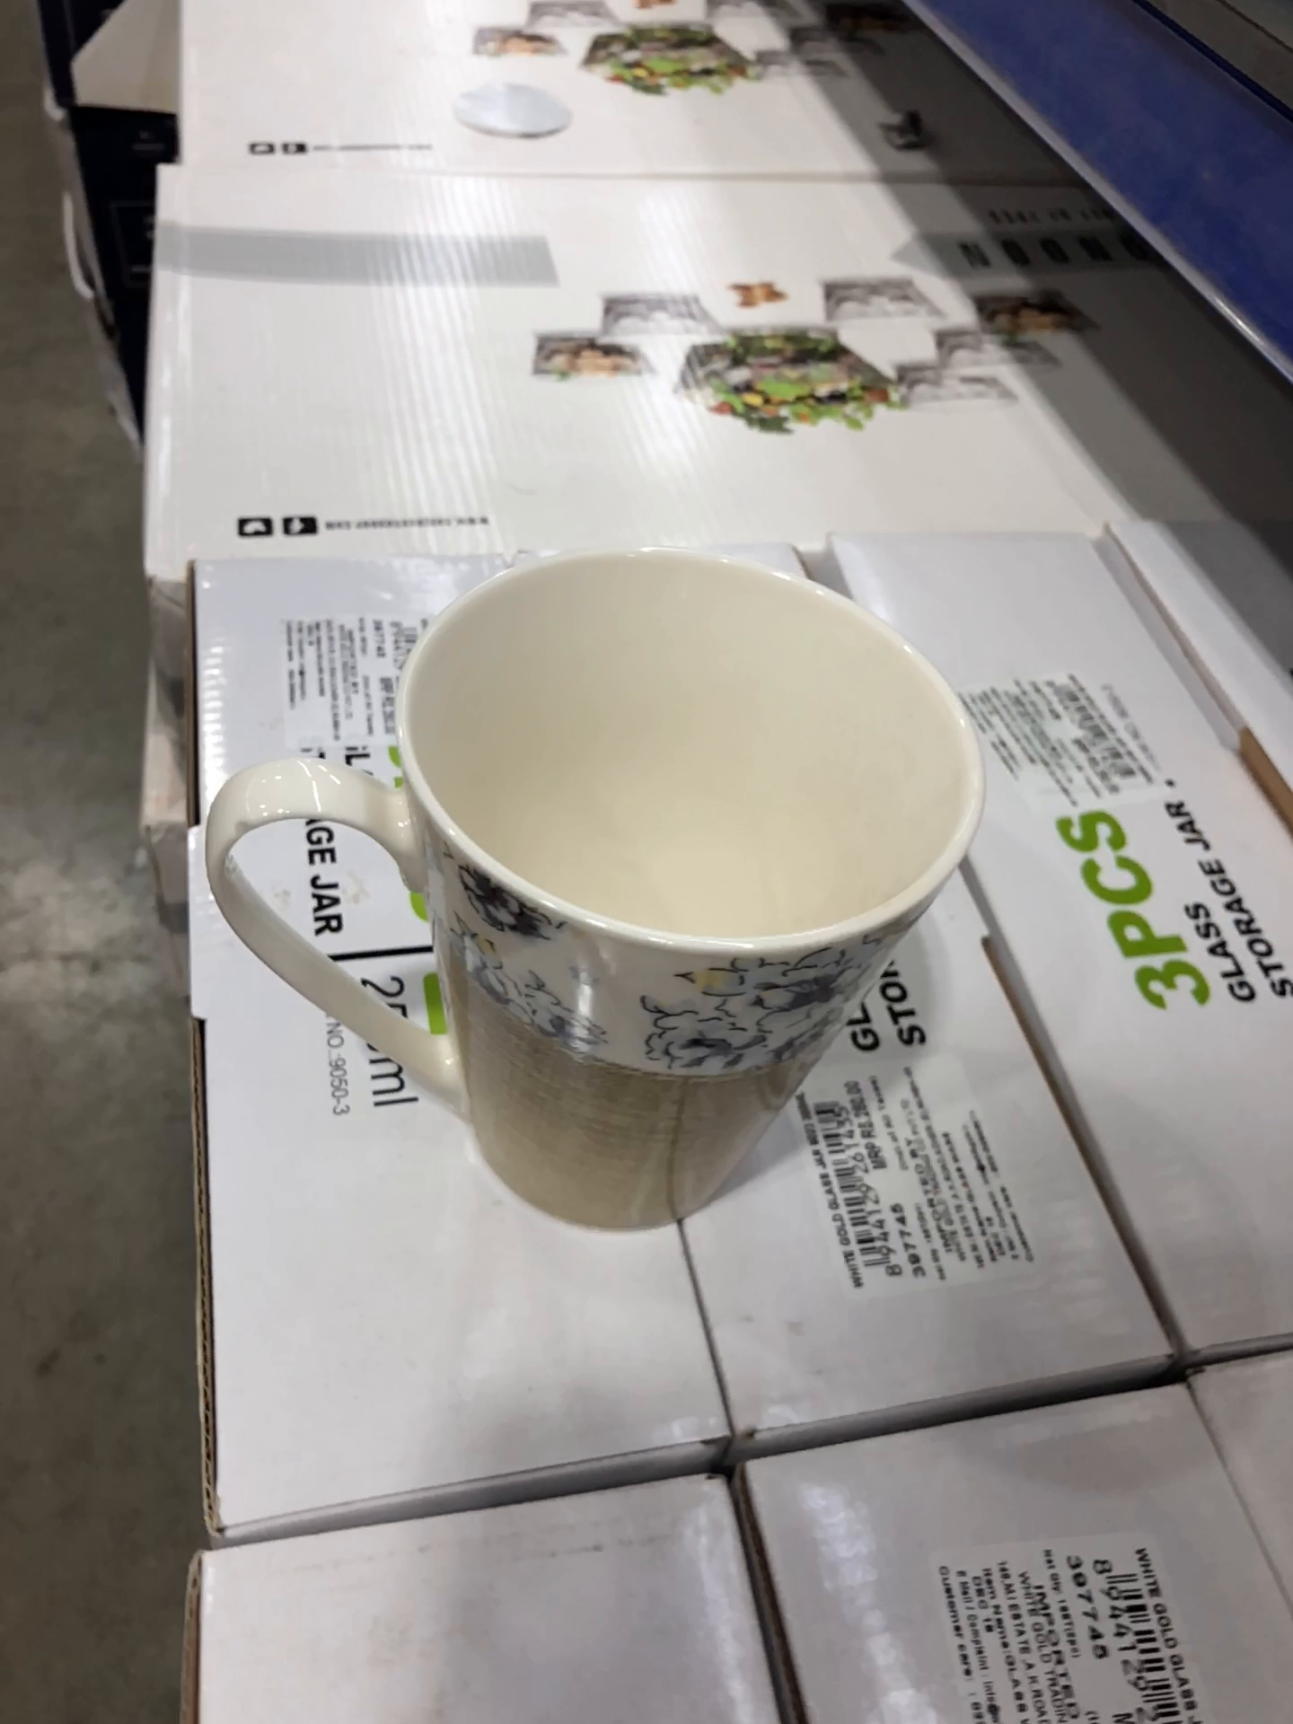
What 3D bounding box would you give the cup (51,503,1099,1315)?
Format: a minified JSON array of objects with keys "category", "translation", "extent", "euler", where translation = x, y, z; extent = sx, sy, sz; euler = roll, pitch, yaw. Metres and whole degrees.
[{"category":"cup","translation":[-0.014,0.010,0.247],"extent":[0.130,0.100,0.090],"euler":[1,47,-7]}]
